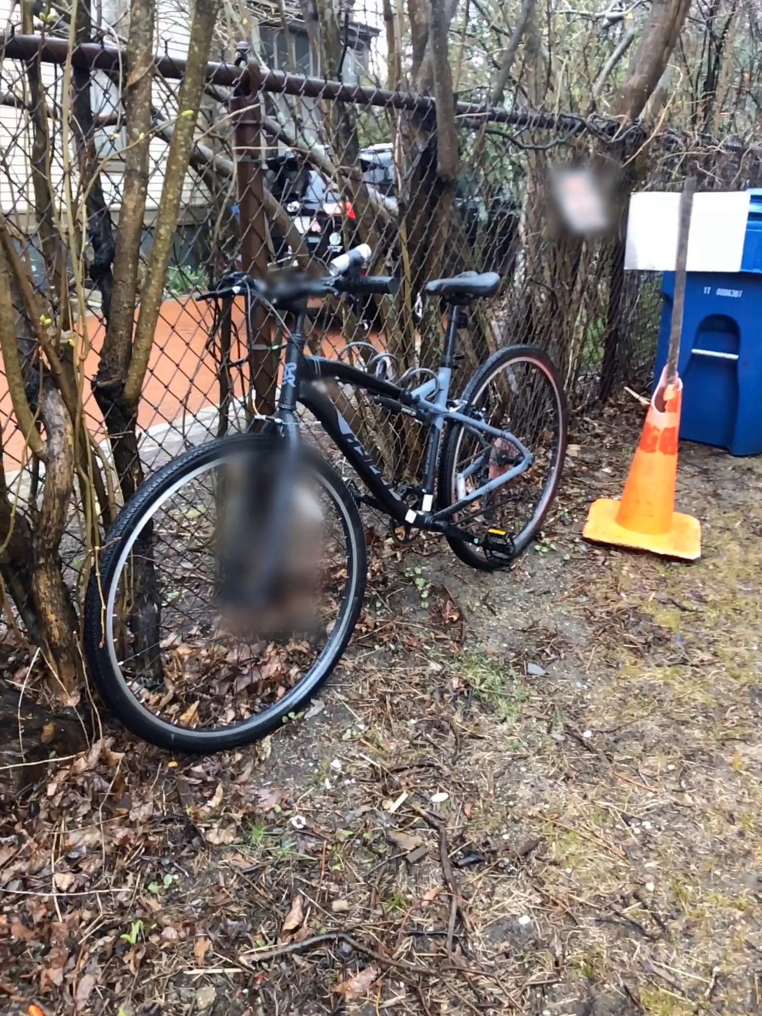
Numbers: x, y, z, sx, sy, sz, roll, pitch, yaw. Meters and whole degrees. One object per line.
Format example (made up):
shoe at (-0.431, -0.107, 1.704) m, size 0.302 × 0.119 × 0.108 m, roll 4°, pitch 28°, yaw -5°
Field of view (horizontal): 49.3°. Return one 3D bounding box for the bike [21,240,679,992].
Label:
bike at (0.120, 0.003, 2.217) m, size 0.537 × 1.067 × 1.893 m, roll 16°, pitch 30°, yaw 36°
